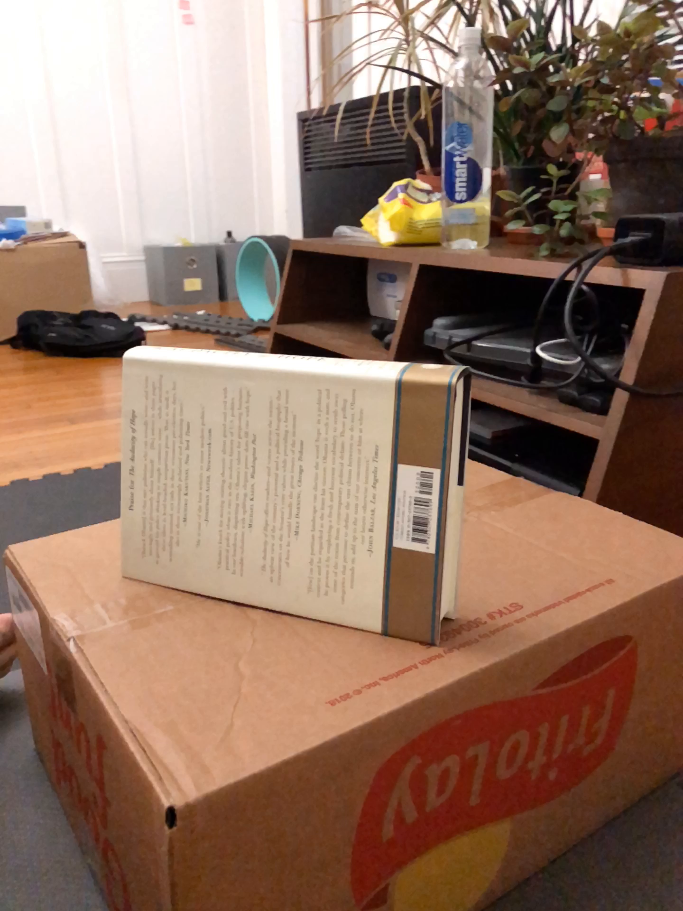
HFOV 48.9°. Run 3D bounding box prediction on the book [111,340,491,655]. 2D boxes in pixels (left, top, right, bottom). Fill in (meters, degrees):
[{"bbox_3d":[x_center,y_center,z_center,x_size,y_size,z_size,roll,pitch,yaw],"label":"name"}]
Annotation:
[{"bbox_3d":[-0.037,0.016,0.515,0.250,0.170,0.060,8,10,23],"label":"book"}]
